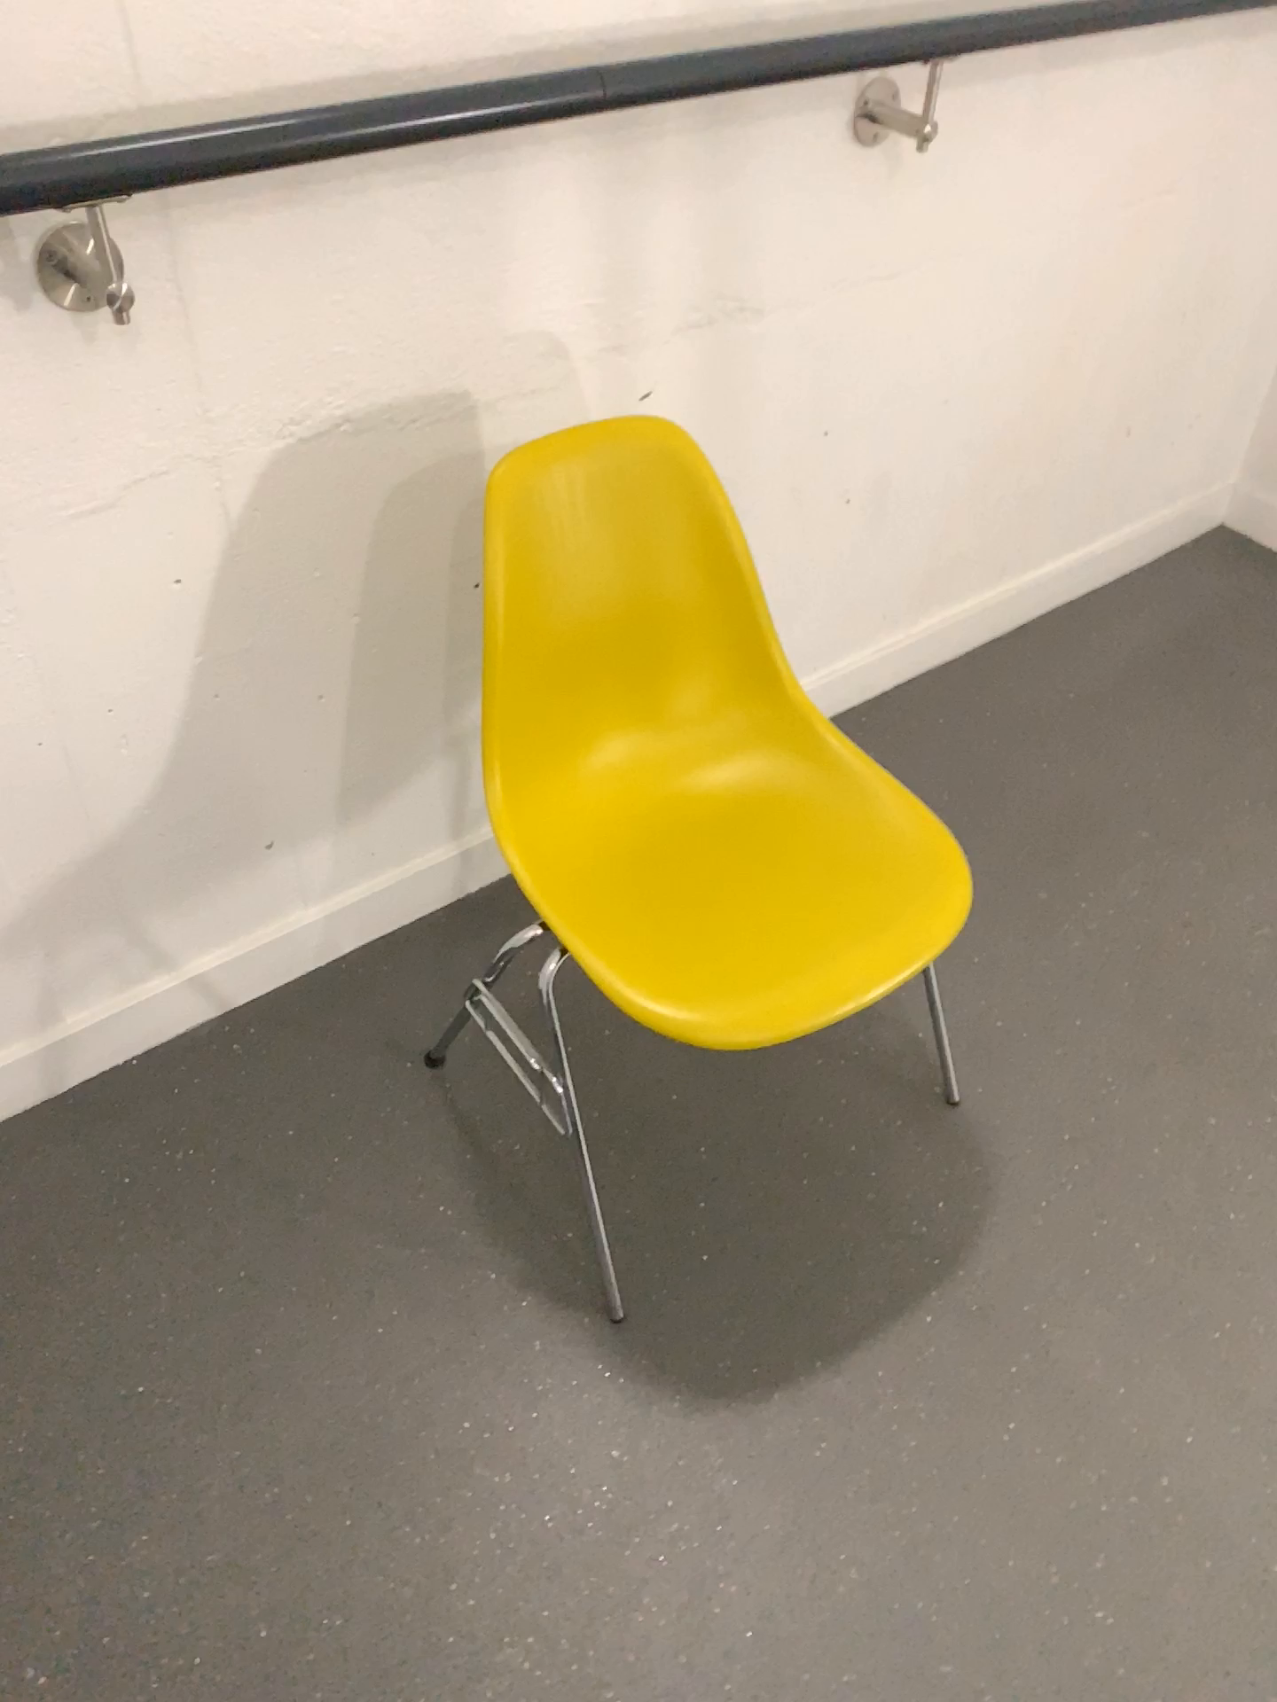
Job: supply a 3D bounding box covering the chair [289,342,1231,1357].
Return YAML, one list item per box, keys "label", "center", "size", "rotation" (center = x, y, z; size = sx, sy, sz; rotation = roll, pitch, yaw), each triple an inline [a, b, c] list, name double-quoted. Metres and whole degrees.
- label: "chair"
  center: [0.086, -0.024, 1.403]
  size: [0.622, 0.733, 0.564]
  rotation: [-24, 49, -26]
